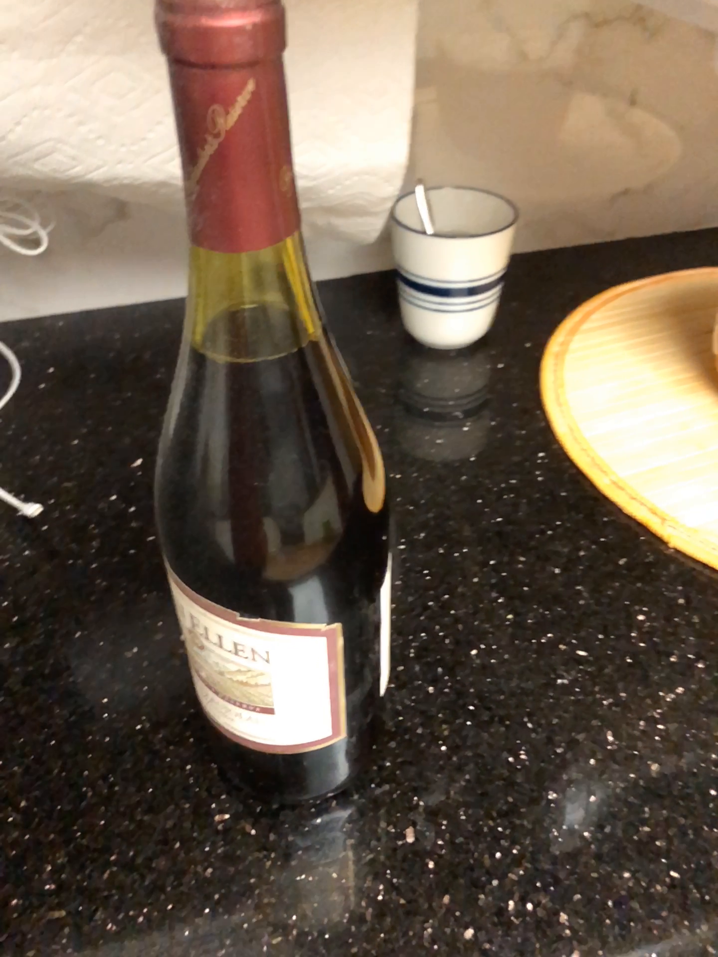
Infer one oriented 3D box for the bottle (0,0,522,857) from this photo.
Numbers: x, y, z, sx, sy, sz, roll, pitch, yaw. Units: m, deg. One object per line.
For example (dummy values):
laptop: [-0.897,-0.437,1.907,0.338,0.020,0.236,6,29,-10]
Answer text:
bottle: [-0.026,0.001,0.272,0.090,0.288,0.090,-1,41,1]
